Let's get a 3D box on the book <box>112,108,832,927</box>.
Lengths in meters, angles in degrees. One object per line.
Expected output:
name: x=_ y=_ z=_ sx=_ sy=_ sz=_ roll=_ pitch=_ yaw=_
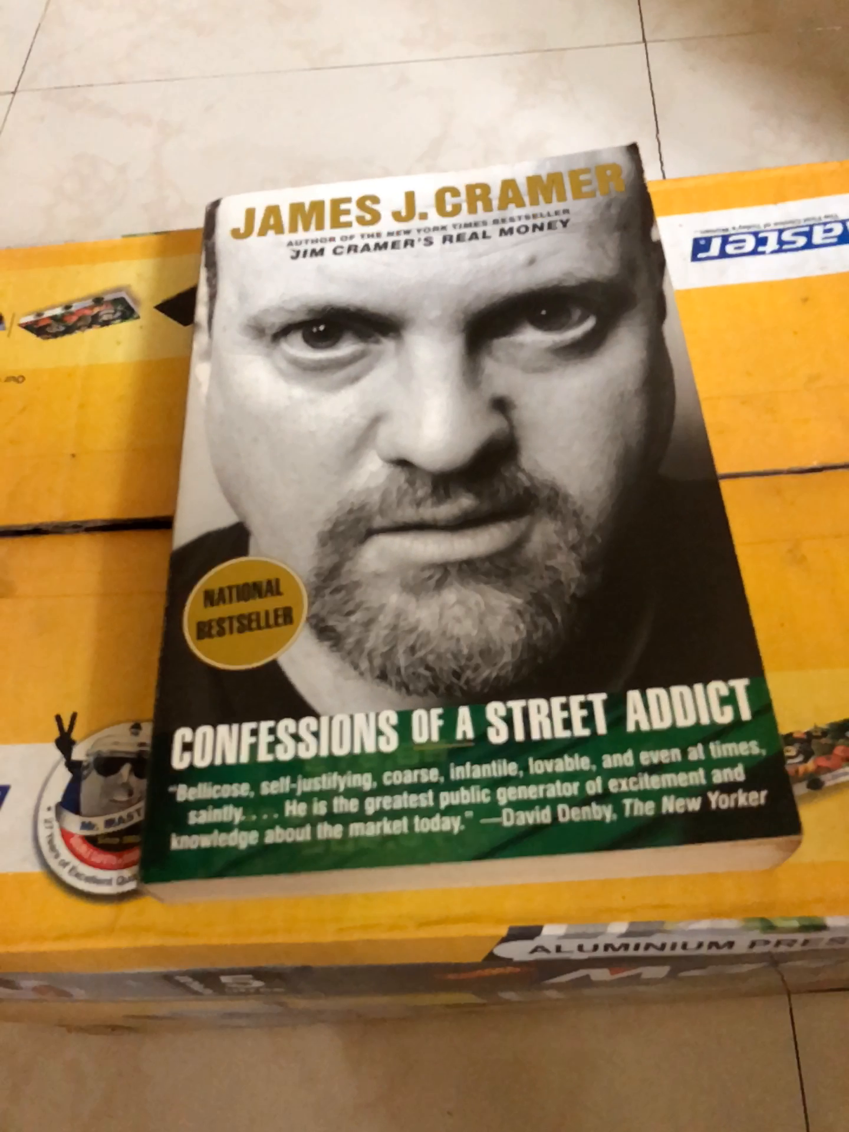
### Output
book: x=0.004 y=-0.031 z=0.254 sx=0.140 sy=0.030 sz=0.230 roll=-5 pitch=59 yaw=4
